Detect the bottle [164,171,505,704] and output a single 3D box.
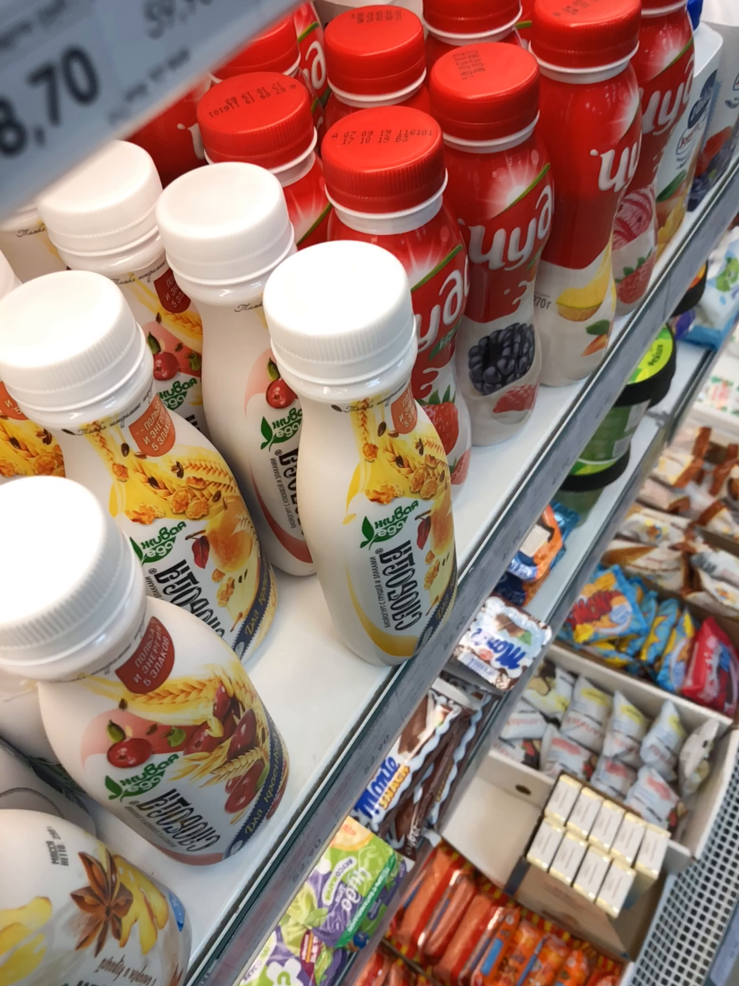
[{"bbox_3d":[-0.001,-0.003,0.293,0.060,0.189,0.070,29,63,23],"label":"bottle"}]
